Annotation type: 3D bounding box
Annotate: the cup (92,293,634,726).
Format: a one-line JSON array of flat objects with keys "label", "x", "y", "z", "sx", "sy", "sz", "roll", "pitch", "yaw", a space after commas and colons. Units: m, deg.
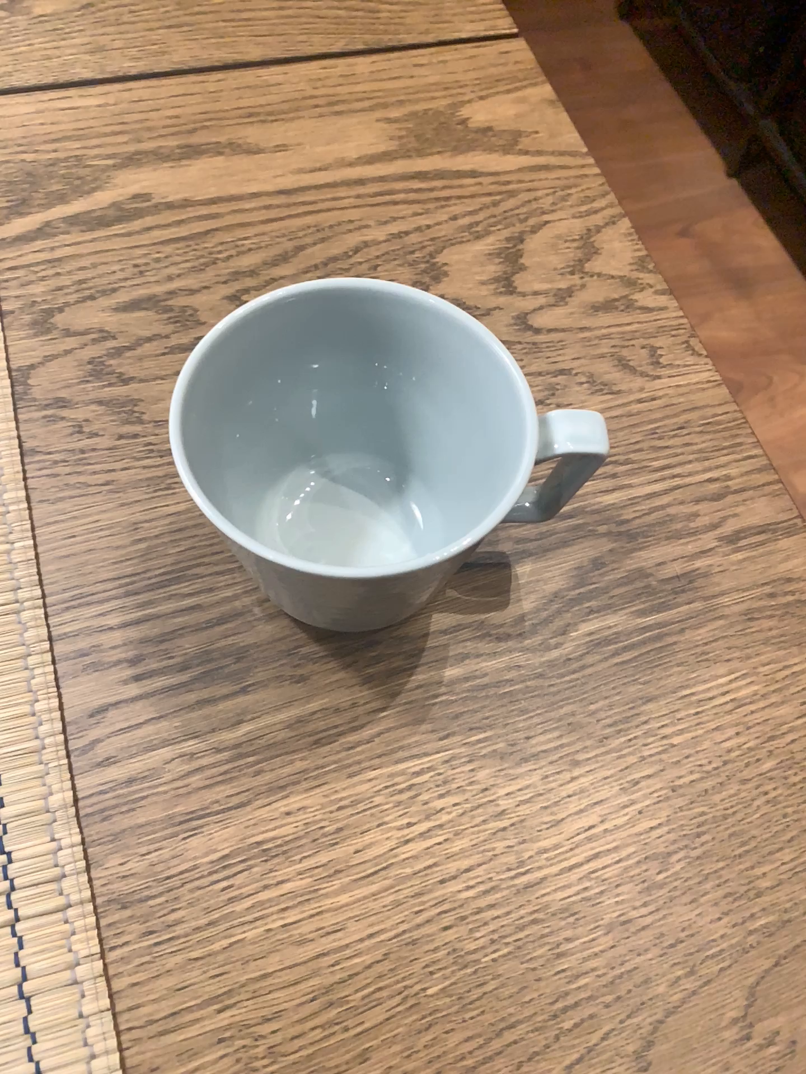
[{"label": "cup", "x": -0.013, "y": -0.003, "z": 0.285, "sx": 0.140, "sy": 0.100, "sz": 0.110, "roll": 1, "pitch": 62, "yaw": -4}]
